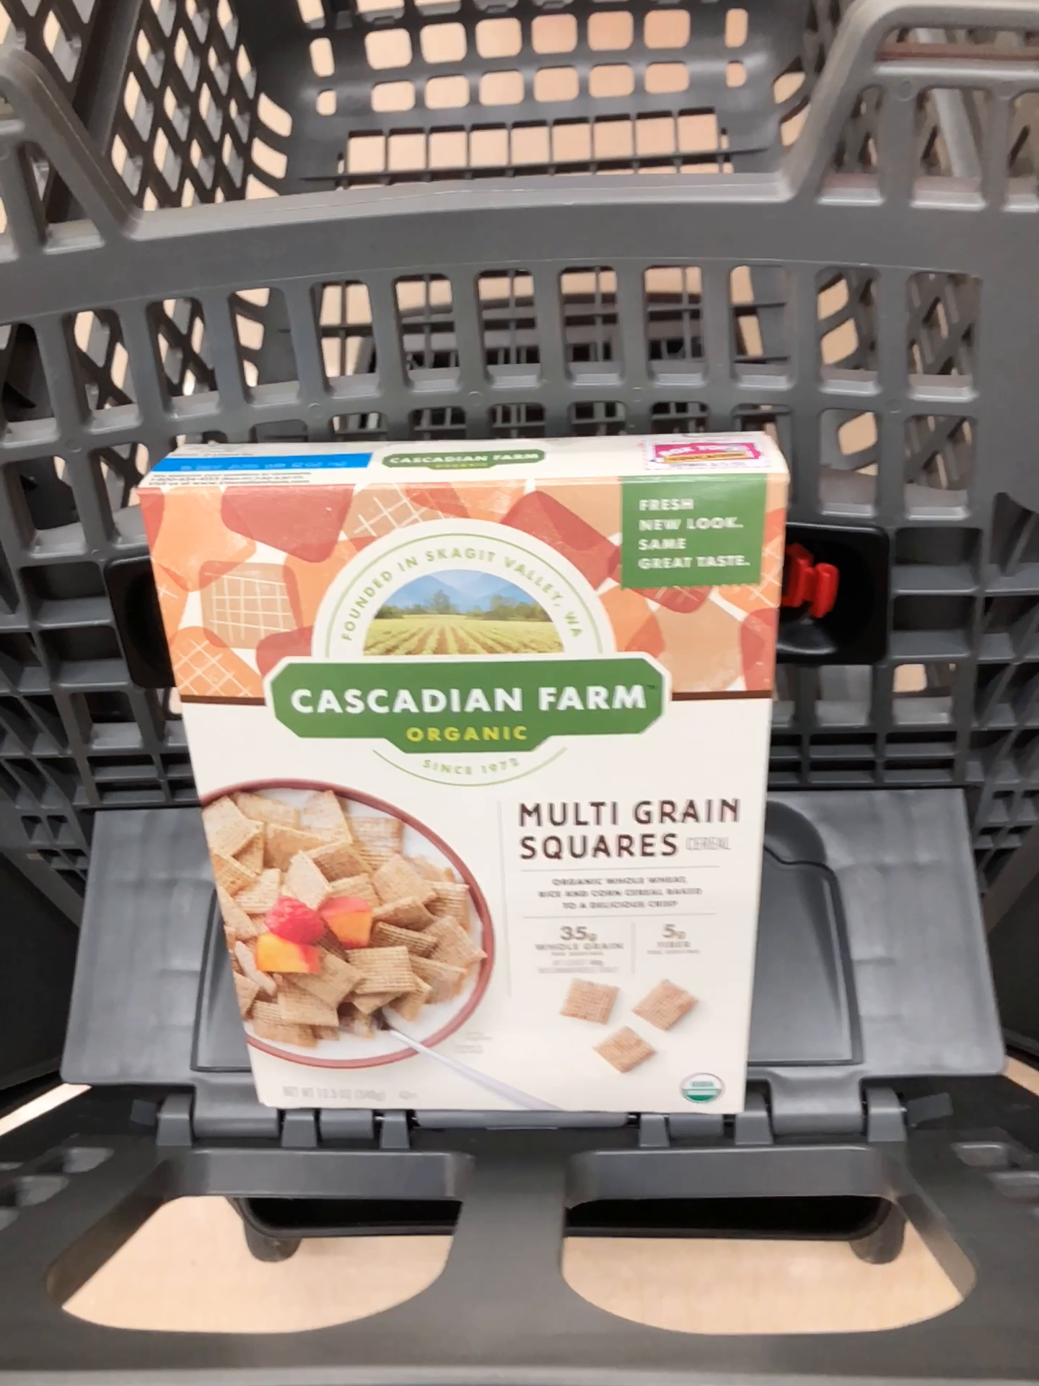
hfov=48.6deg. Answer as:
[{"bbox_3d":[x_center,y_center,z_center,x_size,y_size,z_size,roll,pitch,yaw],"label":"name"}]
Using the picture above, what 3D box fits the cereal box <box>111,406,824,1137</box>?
[{"bbox_3d":[-0.010,0.038,0.407,0.200,0.260,0.060,0,28,4],"label":"cereal box"}]
